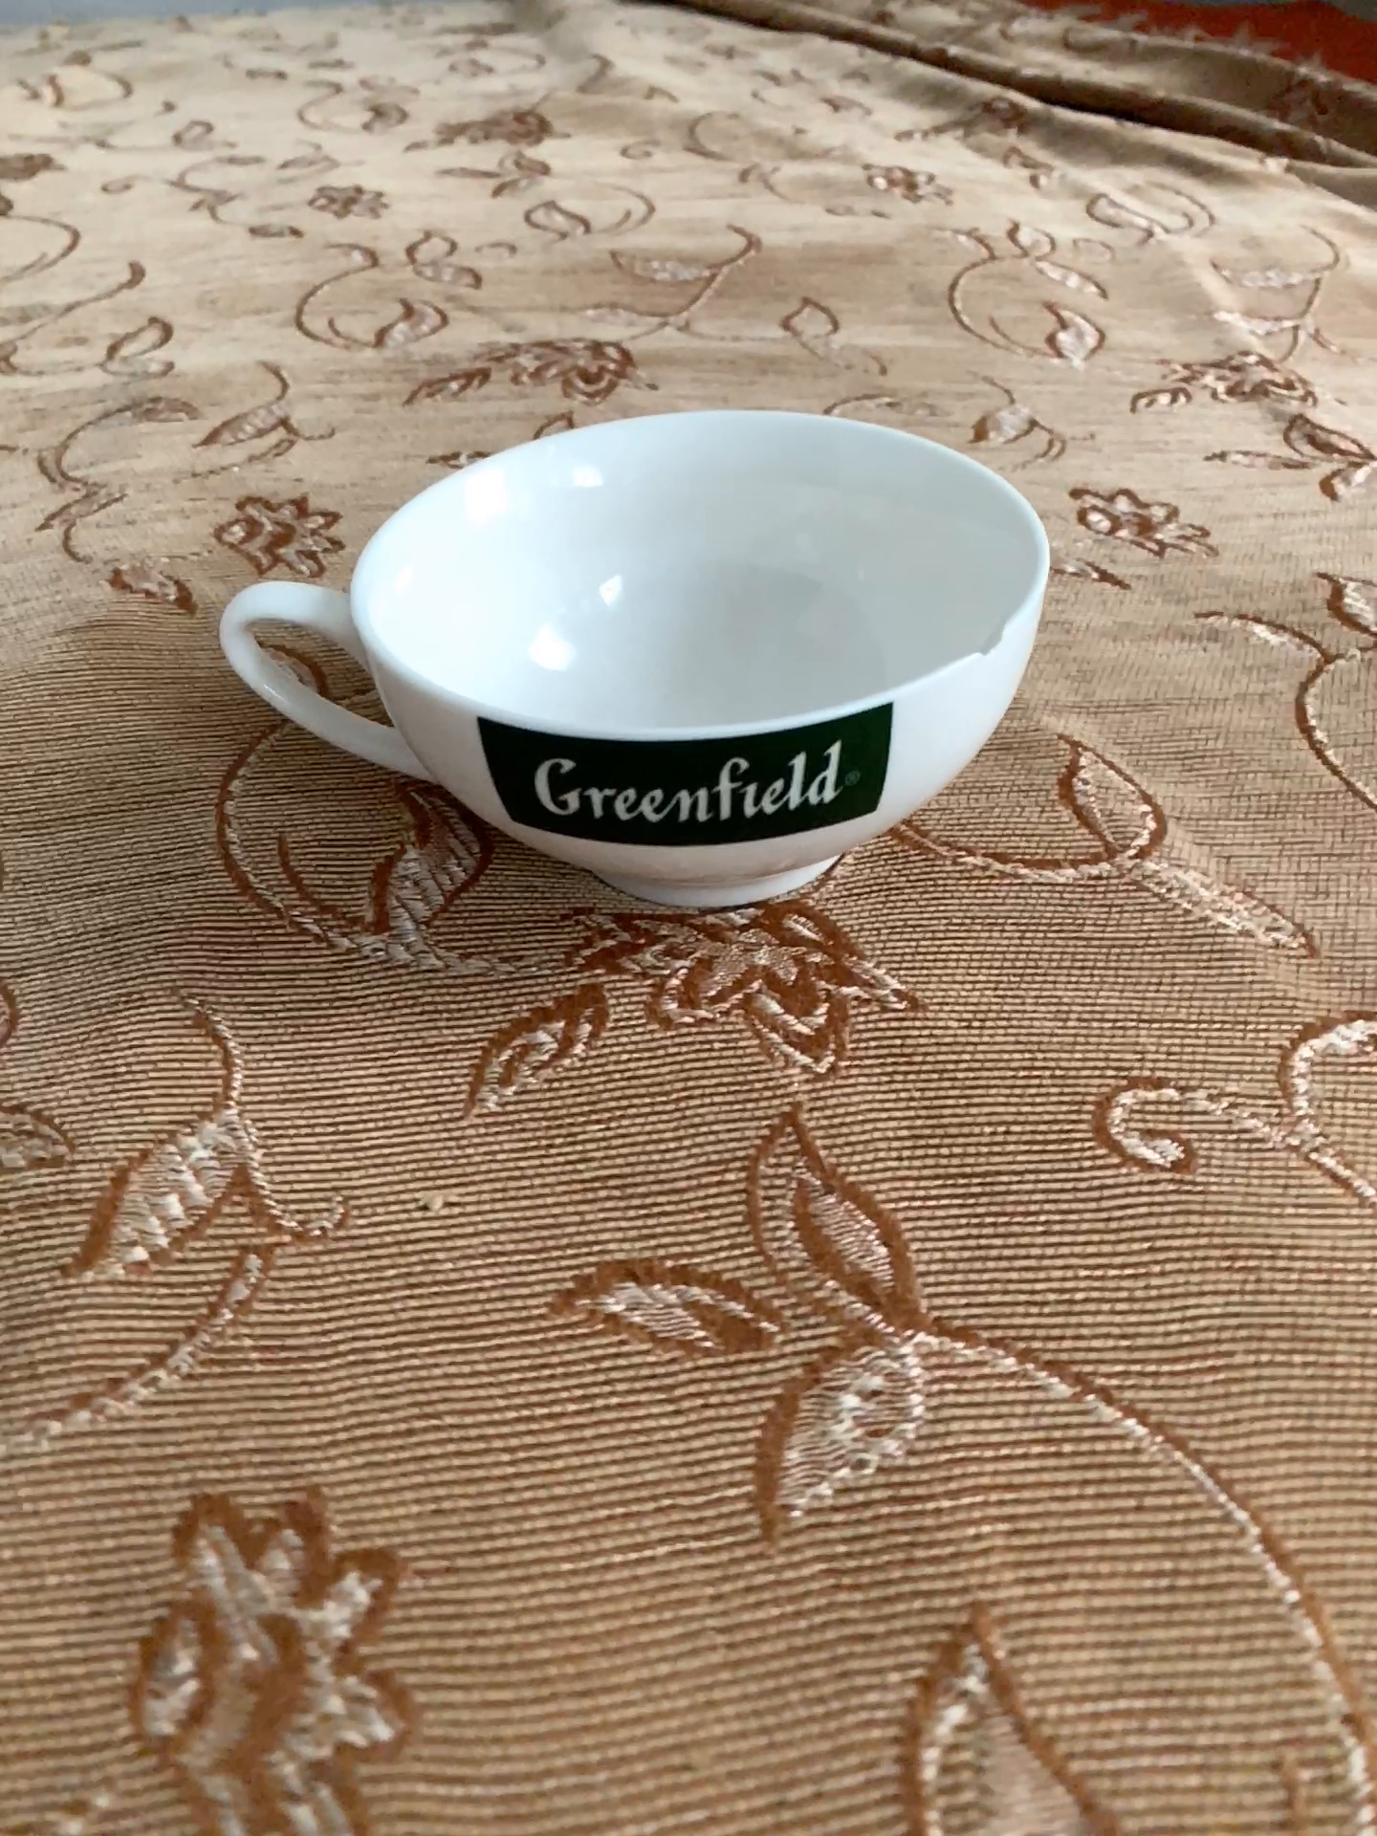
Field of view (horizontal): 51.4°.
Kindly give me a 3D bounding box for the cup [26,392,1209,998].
[{"bbox_3d":[-0.009,-0.041,0.224,0.140,0.040,0.111,-1,40,0],"label":"cup"}]
